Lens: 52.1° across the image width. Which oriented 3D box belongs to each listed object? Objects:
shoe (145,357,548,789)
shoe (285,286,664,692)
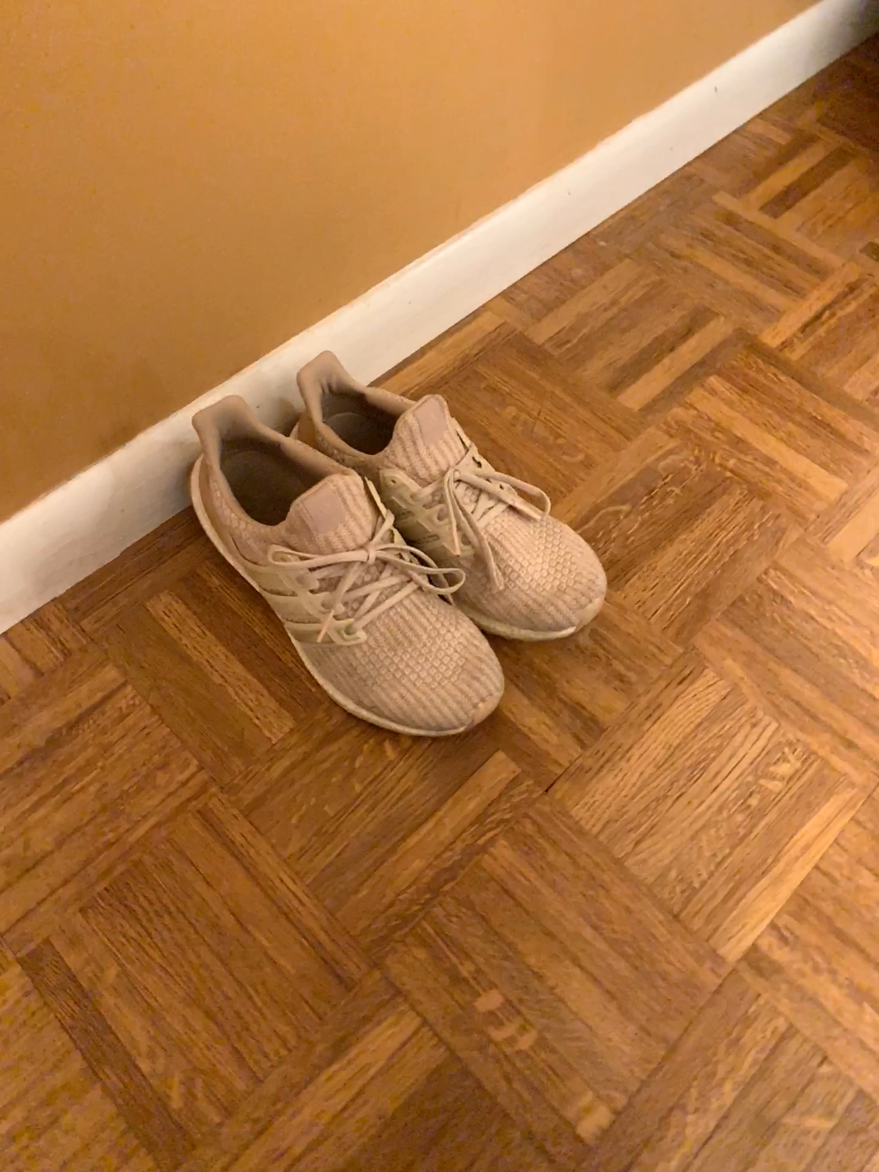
[{"bbox_3d":[-0.072,-0.007,0.640,0.100,0.130,0.280,-39,77,-22],"label":"shoe"},{"bbox_3d":[0.014,-0.068,0.661,0.110,0.120,0.260,-39,80,-22],"label":"shoe"}]
